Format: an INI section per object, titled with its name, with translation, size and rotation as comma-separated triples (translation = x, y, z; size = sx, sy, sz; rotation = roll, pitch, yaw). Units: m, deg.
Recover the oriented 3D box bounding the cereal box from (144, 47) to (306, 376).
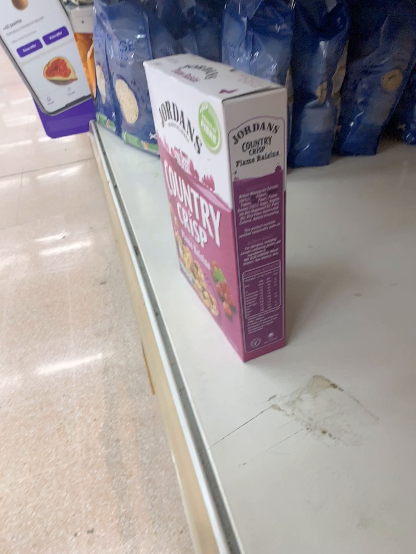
[cereal box]
translation = 0.011, -0.068, 0.422
size = 0.050, 0.257, 0.202
rotation = -18, 38, -16
